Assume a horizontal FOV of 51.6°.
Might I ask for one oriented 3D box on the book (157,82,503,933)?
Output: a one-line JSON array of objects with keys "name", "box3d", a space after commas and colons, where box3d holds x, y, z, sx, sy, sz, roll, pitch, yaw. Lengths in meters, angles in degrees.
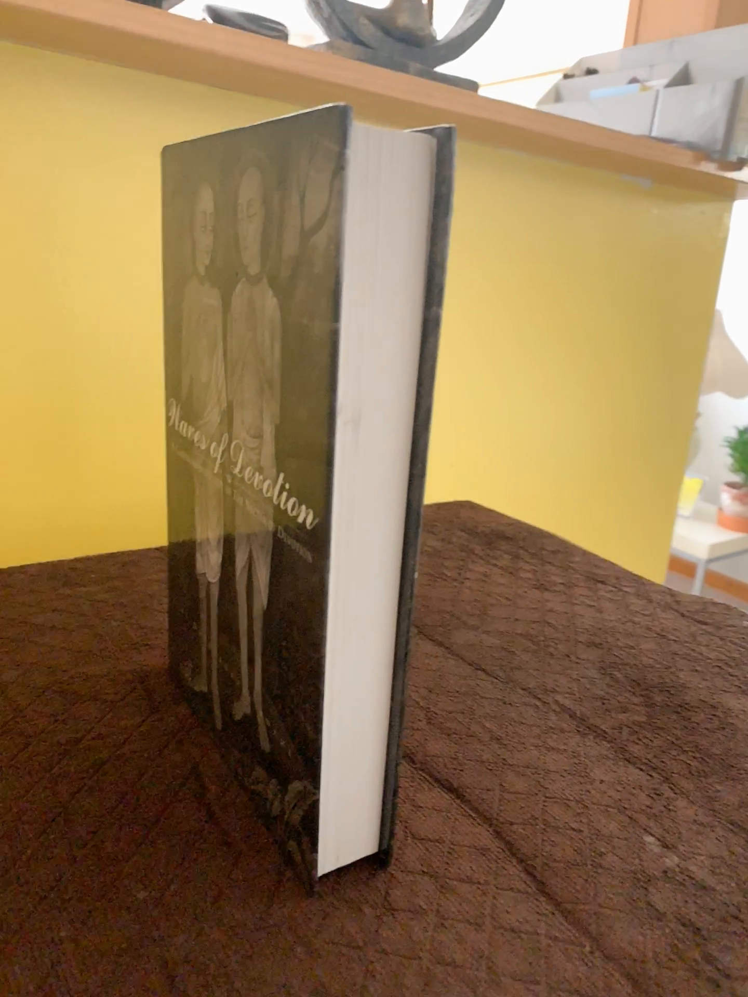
[{"name": "book", "box3d": [-0.030, -0.005, 0.273, 0.040, 0.229, 0.161, -8, 20, -29]}]
